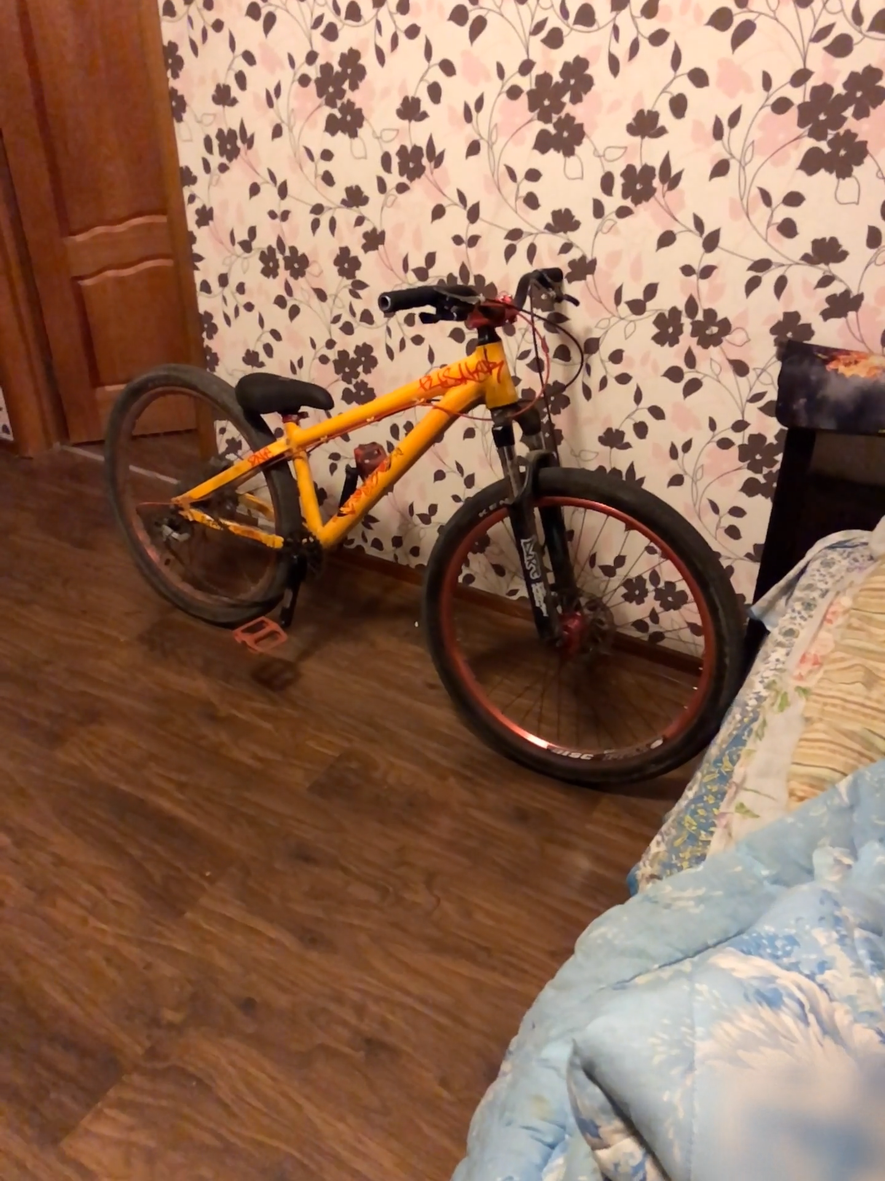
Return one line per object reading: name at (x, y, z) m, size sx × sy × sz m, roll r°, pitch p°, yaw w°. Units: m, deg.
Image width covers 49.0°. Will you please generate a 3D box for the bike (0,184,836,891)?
bike at (-0.196, -0.264, 2.083) m, size 1.678 × 1.005 × 0.663 m, roll 17°, pitch 35°, yaw 30°
